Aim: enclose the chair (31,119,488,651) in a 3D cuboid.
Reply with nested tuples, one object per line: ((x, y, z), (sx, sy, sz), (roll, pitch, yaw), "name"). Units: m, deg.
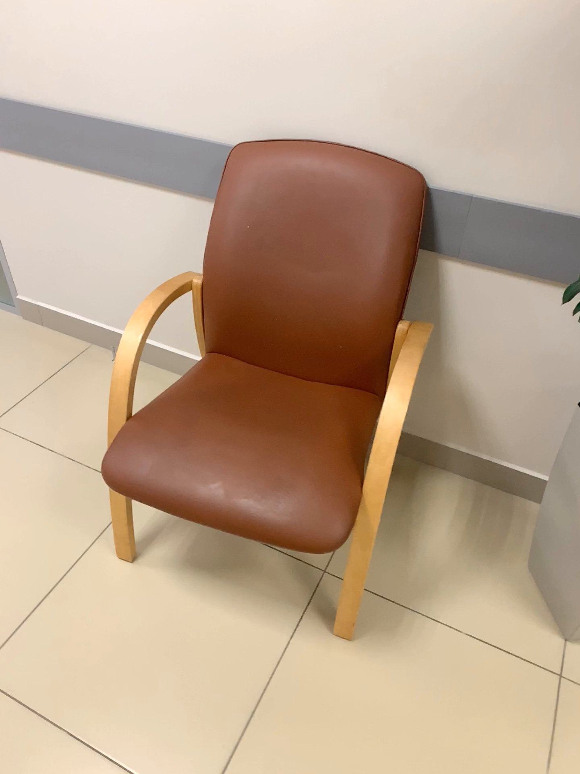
((-0.021, 0.003, 1.425), (0.670, 0.985, 0.603), (15, 42, 15), "chair")
